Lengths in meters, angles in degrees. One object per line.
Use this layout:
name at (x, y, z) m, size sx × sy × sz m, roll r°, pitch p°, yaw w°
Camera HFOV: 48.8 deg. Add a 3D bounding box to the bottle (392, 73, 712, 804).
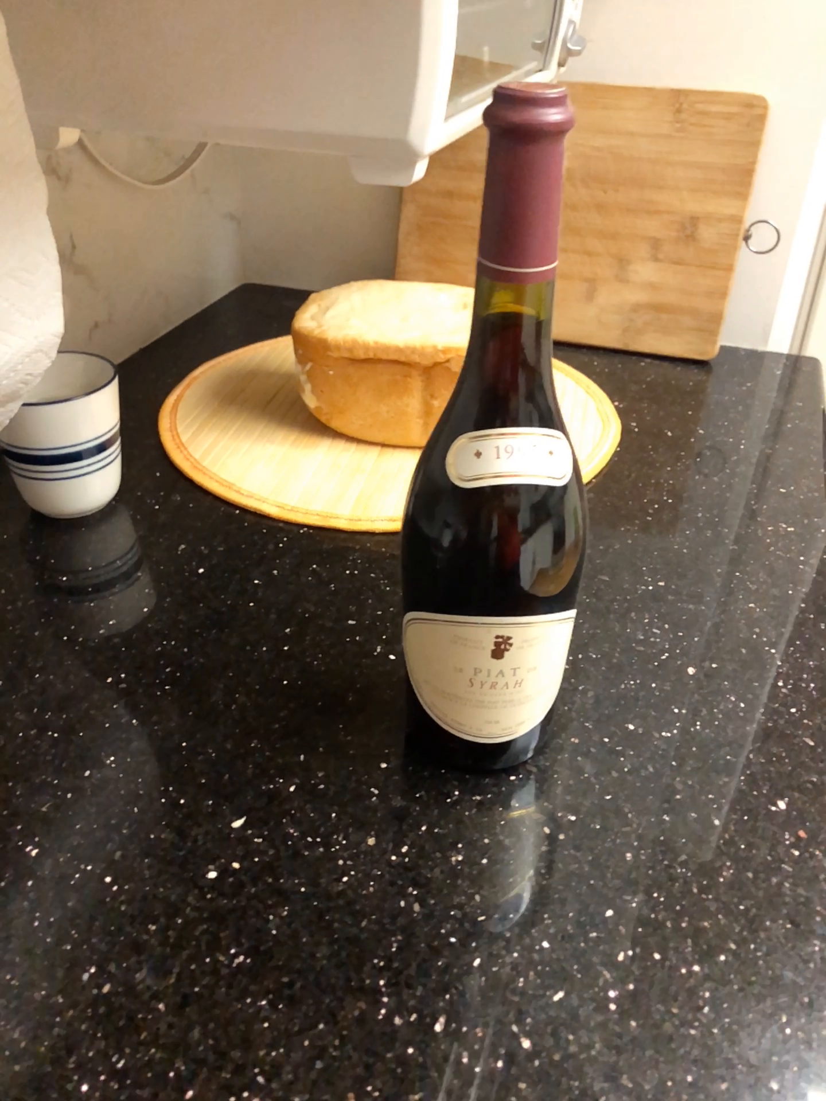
bottle at (0.040, -0.031, 0.400) m, size 0.090 × 0.308 × 0.091 m, roll 1°, pitch 34°, yaw -1°
